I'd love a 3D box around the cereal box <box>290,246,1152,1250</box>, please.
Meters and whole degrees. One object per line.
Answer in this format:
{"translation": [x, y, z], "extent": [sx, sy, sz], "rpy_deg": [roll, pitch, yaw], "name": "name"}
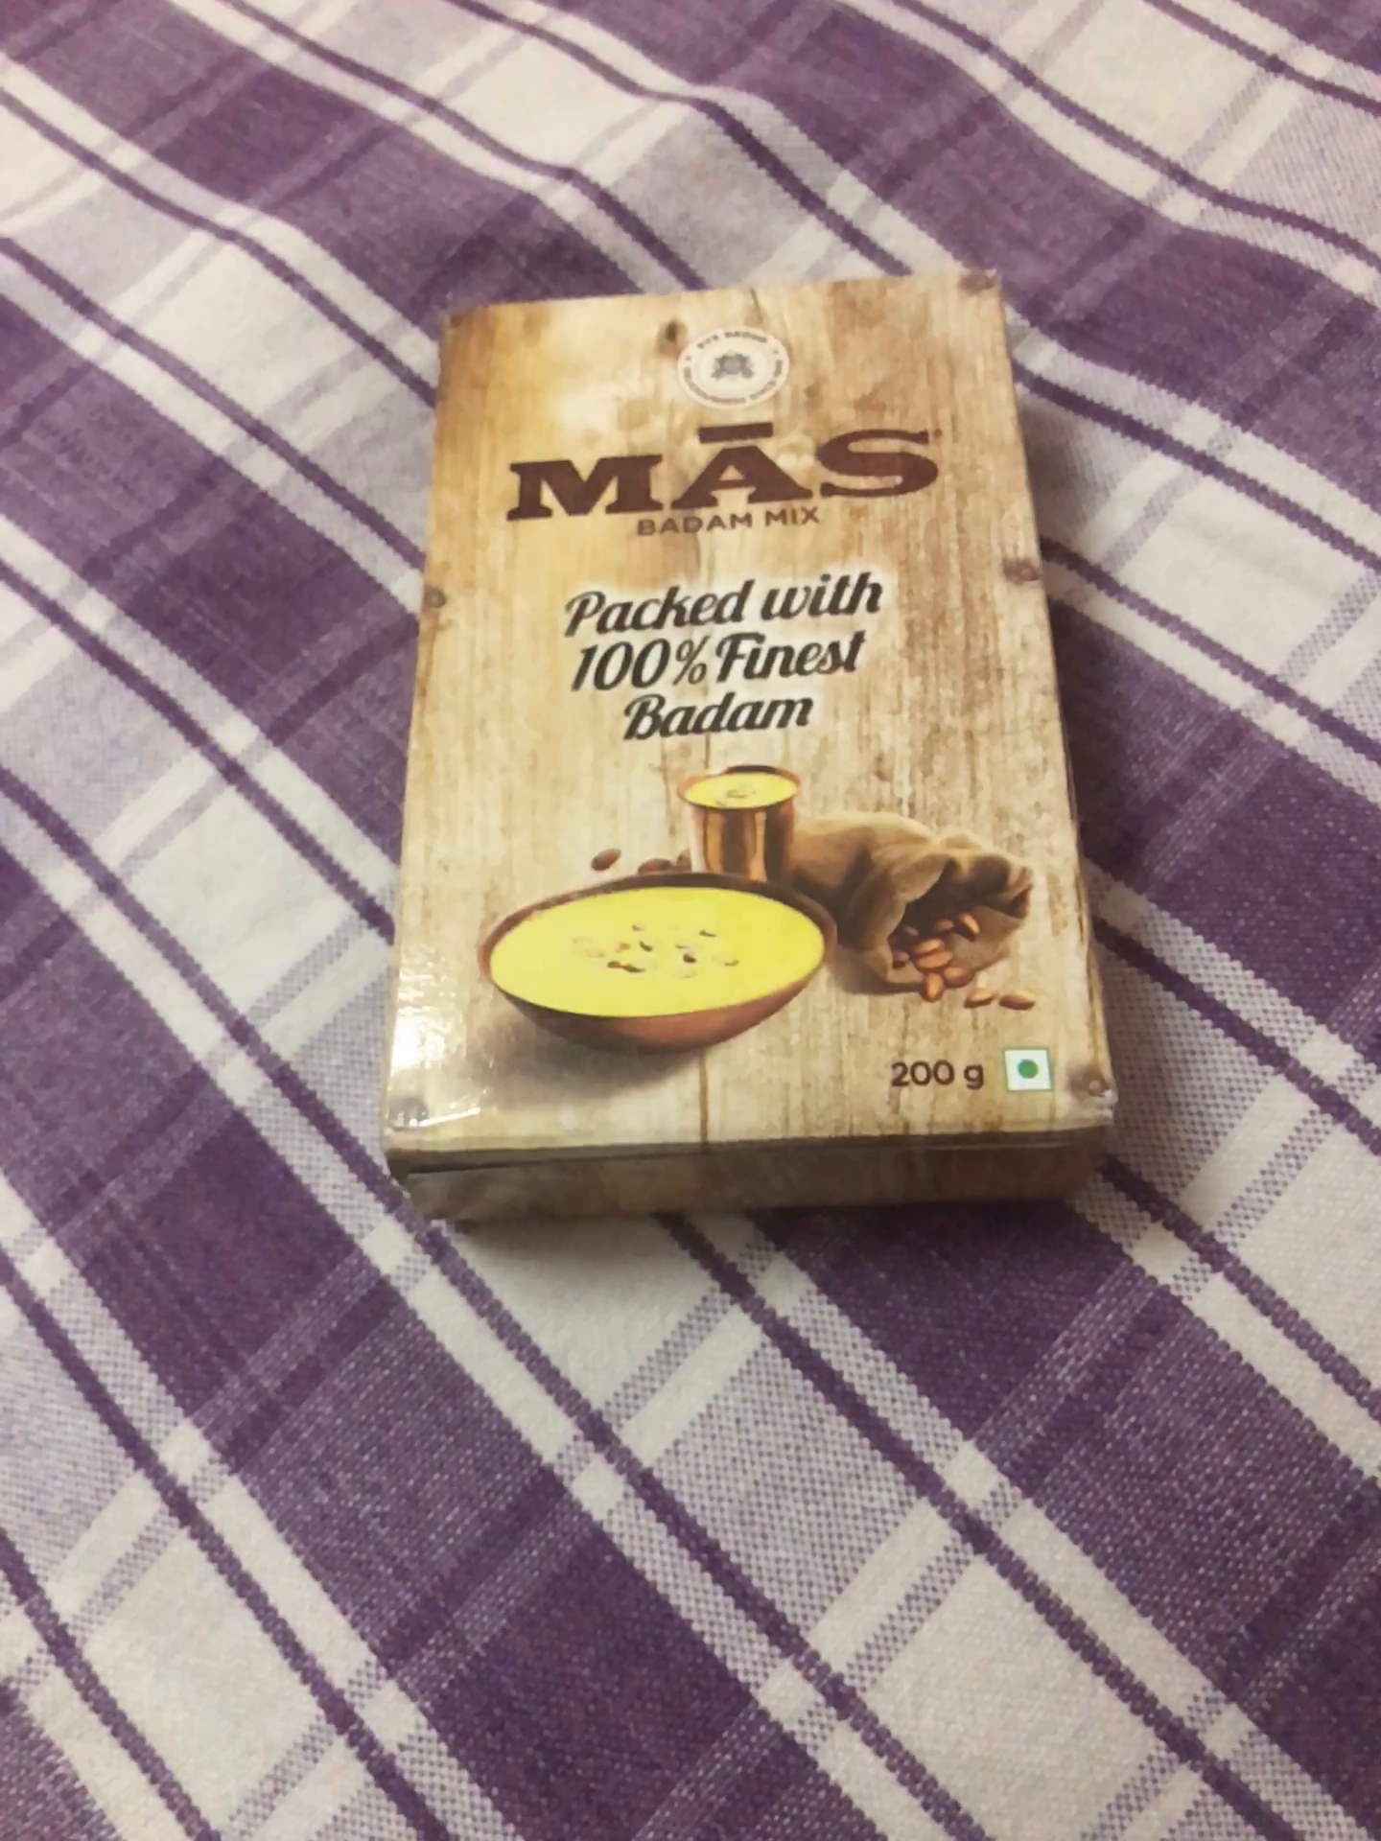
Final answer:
{"translation": [0.004, -0.026, 0.203], "extent": [0.090, 0.030, 0.130], "rpy_deg": [-2, 65, 5], "name": "cereal box"}
